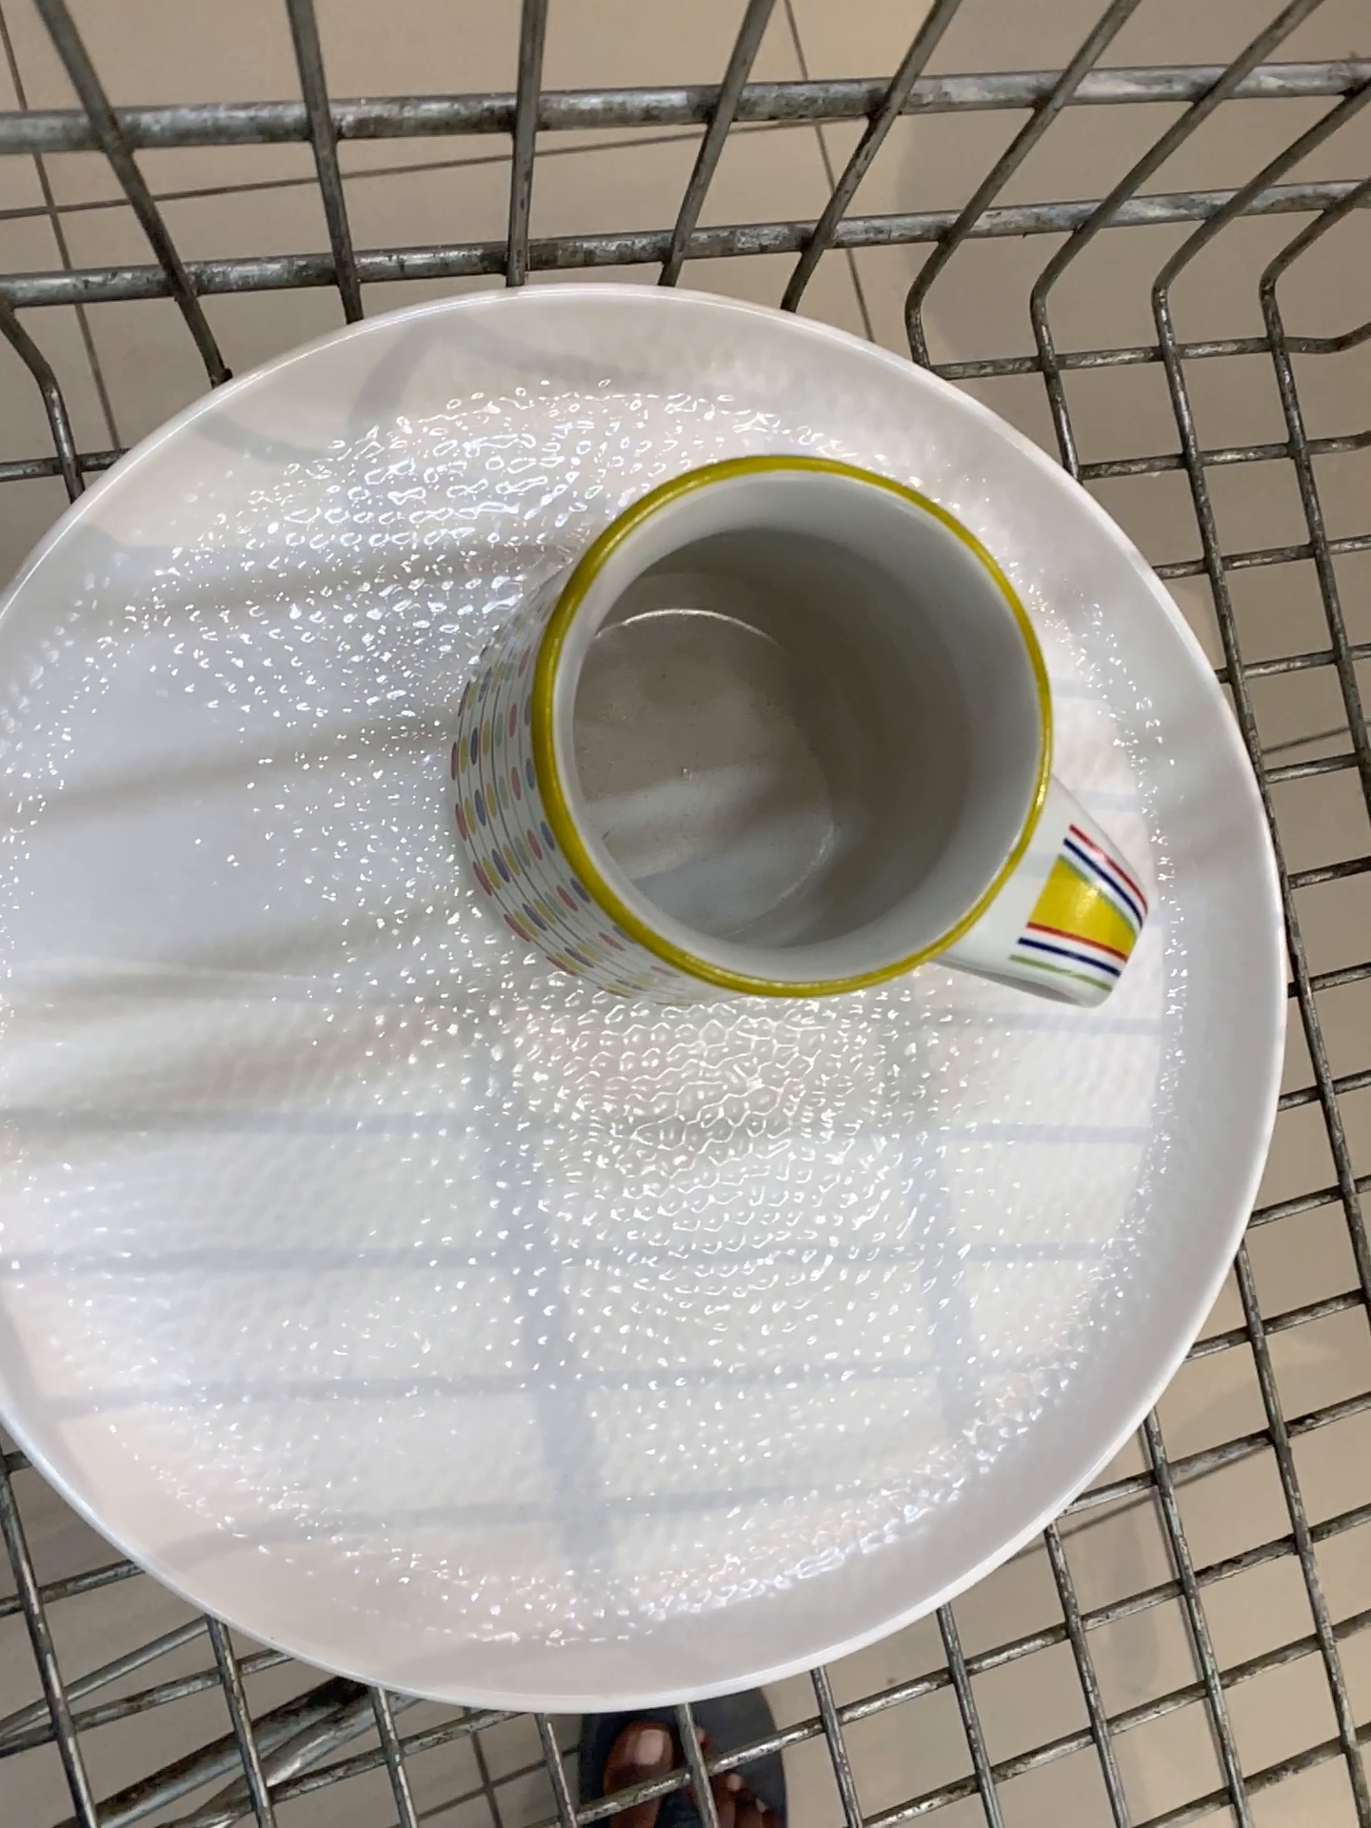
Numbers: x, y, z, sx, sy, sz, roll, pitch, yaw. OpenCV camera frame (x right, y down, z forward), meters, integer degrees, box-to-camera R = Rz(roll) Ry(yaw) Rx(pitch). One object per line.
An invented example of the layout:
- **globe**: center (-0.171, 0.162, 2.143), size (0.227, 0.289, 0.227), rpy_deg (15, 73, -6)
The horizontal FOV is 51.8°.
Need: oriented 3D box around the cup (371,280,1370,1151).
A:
- **cup**: center (0.022, -0.018, 0.214), size (0.120, 0.100, 0.080), rpy_deg (10, 86, -15)
